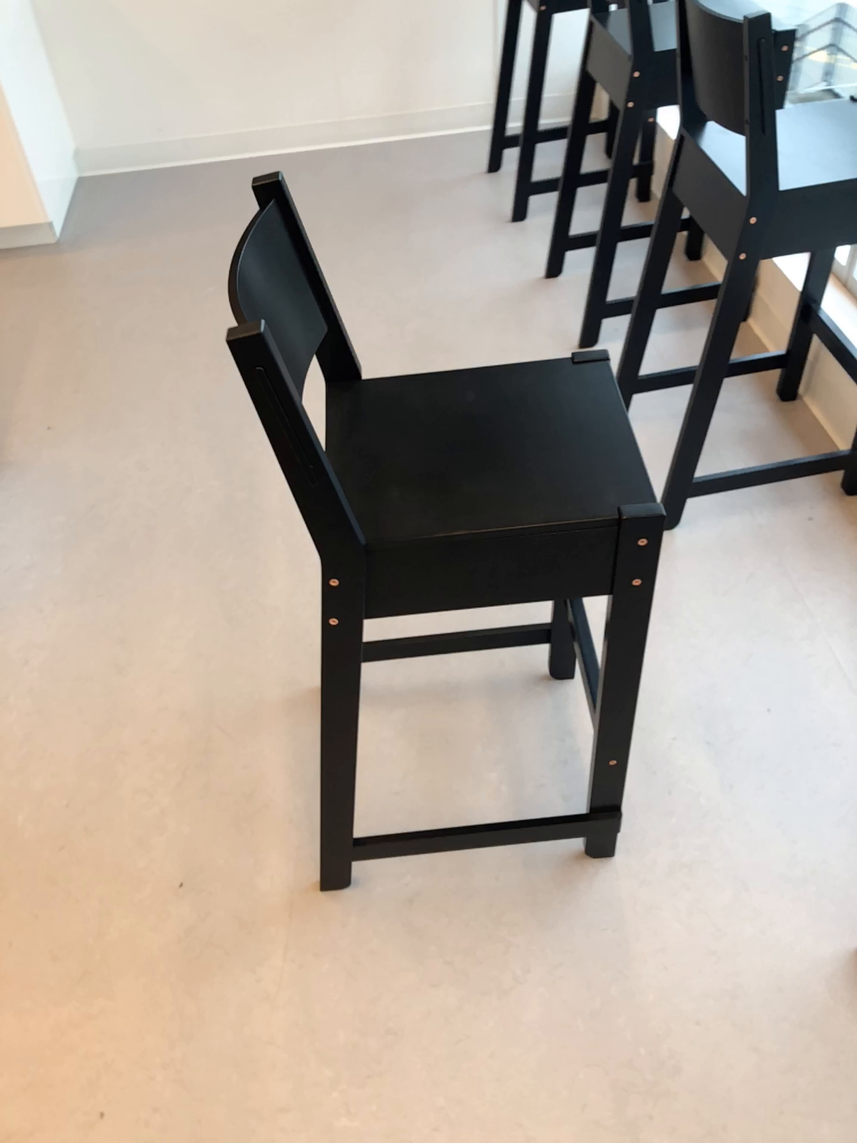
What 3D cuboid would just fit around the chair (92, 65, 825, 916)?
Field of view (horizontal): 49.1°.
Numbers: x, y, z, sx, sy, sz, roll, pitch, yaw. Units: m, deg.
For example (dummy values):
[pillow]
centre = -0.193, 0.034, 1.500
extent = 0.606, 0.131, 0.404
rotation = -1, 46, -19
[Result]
[chair]
centre = 0.036, -0.040, 1.286
extent = 0.580, 0.993, 0.554
rotation = -5, 45, 0
